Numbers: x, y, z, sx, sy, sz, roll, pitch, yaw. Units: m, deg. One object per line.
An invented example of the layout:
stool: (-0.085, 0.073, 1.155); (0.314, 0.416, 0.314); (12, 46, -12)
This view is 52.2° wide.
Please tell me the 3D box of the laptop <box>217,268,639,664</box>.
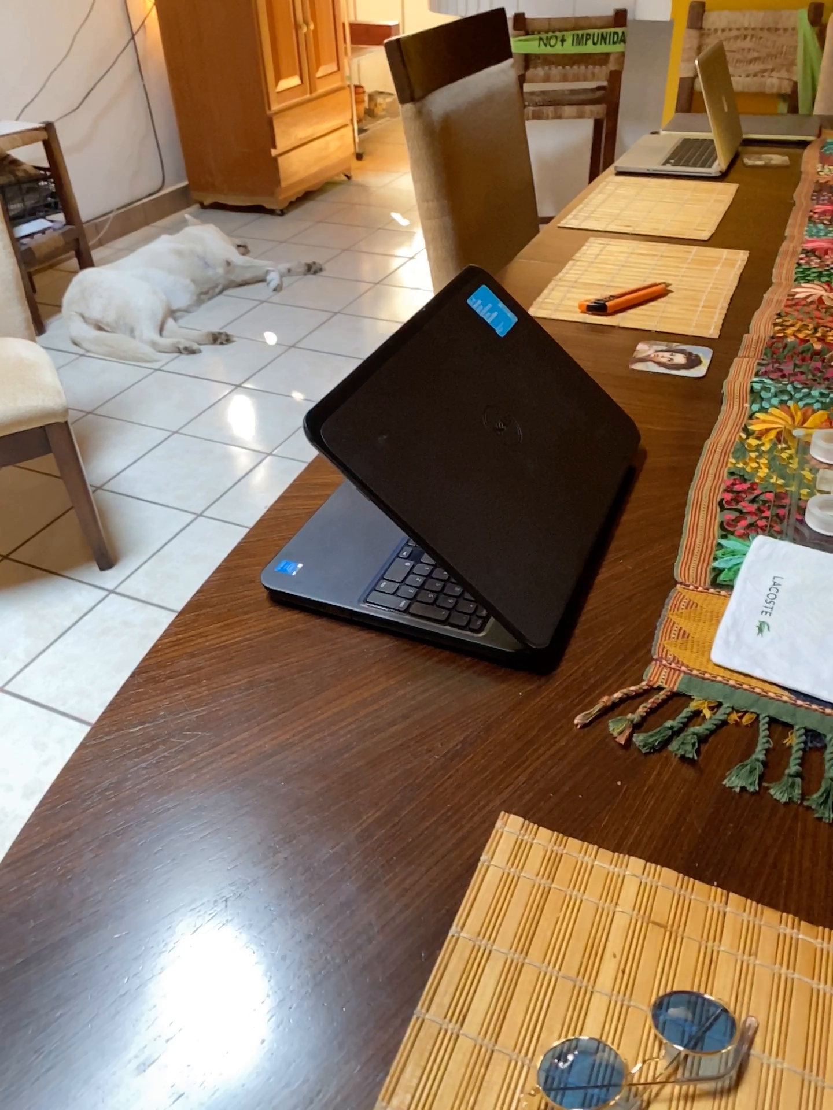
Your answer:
laptop: (0.034, -0.111, 0.774); (0.248, 0.158, 0.358); (13, 40, 20)

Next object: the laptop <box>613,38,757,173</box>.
laptop: (0.599, -1.004, 1.886); (0.221, 0.207, 0.373); (12, 39, 19)
